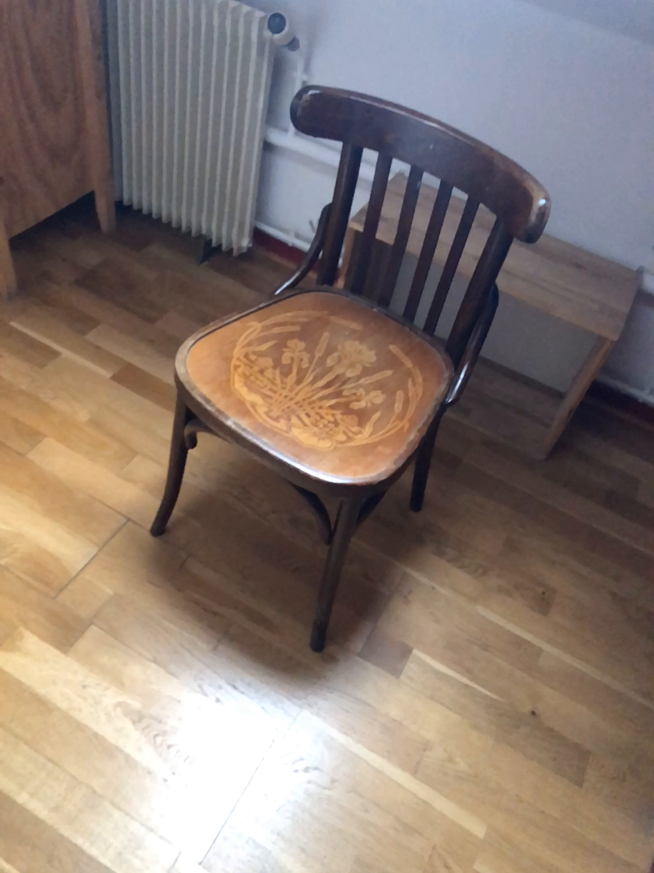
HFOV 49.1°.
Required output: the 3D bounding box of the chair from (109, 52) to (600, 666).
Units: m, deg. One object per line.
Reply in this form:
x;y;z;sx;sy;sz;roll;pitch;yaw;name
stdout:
-0.006;-0.086;1.119;0.442;0.737;0.414;32;49;15;chair
